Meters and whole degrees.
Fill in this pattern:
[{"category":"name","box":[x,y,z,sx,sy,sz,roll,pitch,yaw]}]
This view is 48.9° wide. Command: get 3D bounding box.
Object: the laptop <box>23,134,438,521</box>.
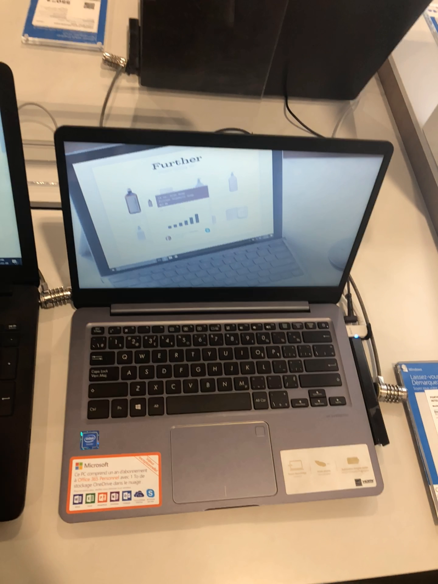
[{"category":"laptop","box":[0.015,0.033,0.462,0.316,0.197,0.292,-1,61,-10]}]
